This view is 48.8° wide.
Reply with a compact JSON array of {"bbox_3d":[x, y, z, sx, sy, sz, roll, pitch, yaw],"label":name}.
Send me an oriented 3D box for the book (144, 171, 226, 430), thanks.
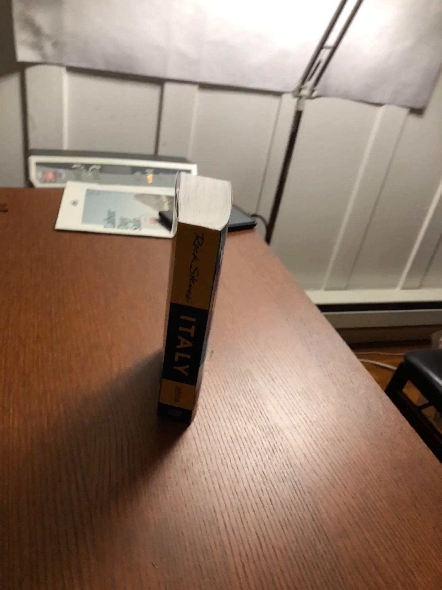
[{"bbox_3d":[-0.033,0.004,0.458,0.050,0.199,0.131,7,31,0],"label":"book"}]
